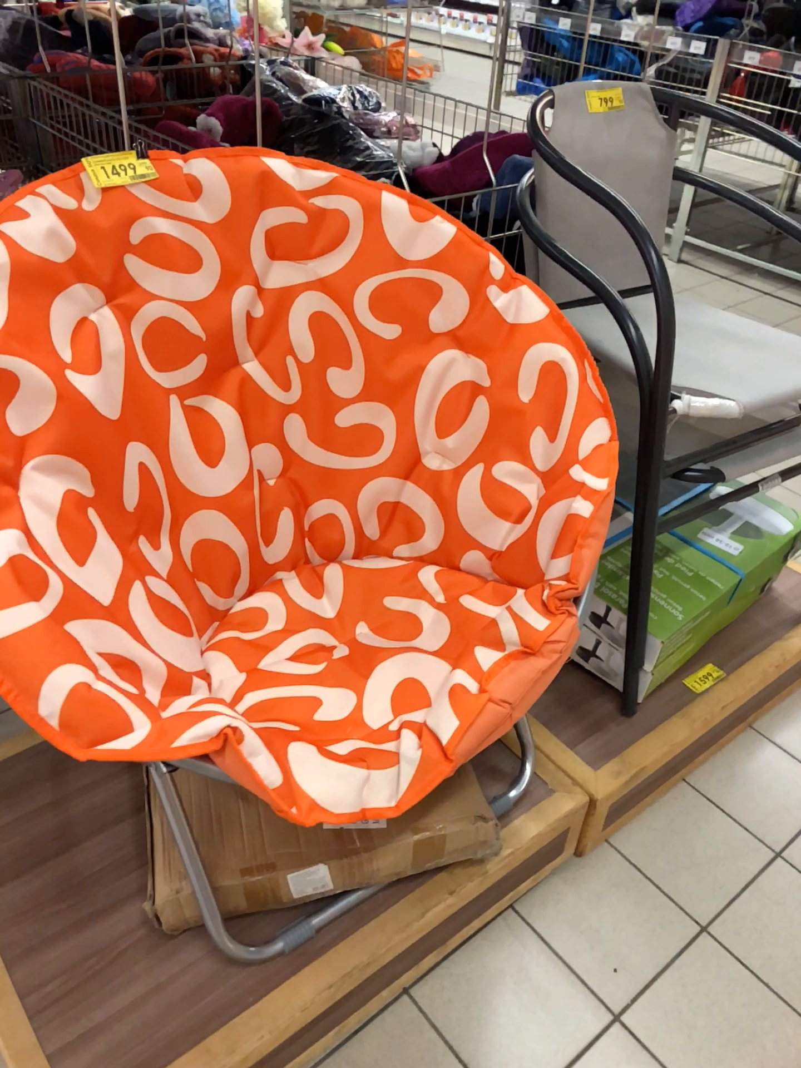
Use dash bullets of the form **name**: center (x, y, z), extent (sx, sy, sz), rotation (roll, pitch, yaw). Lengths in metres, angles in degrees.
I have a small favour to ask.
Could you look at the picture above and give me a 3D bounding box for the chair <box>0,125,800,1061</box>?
- **chair**: center (-0.115, -0.059, 1.036), extent (0.736, 0.605, 0.713), rotation (-21, 42, -31)
